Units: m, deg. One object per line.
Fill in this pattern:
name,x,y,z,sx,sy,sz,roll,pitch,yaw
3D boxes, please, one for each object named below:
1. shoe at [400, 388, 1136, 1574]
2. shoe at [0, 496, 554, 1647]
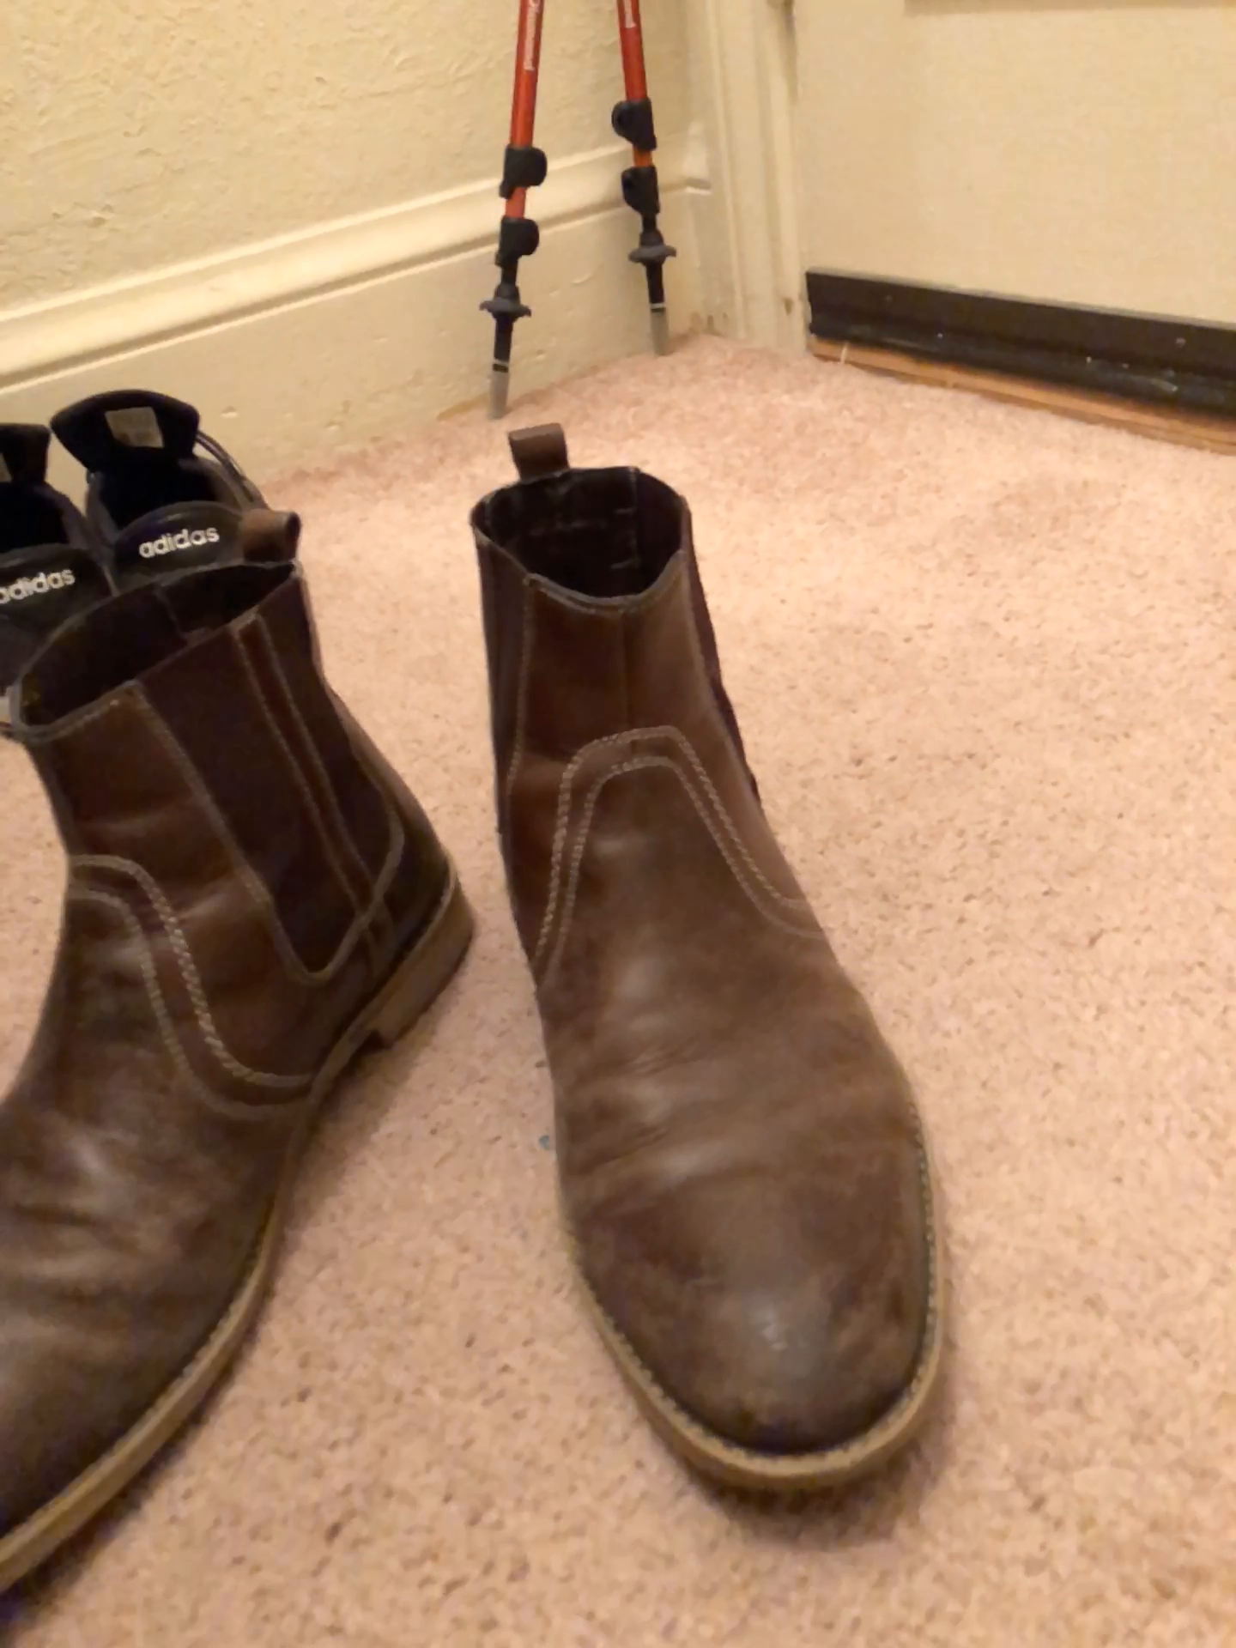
shoe,0.016,0.009,0.381,0.118,0.158,0.299,-12,34,-2
shoe,-0.146,0.044,0.374,0.119,0.158,0.299,6,38,23
